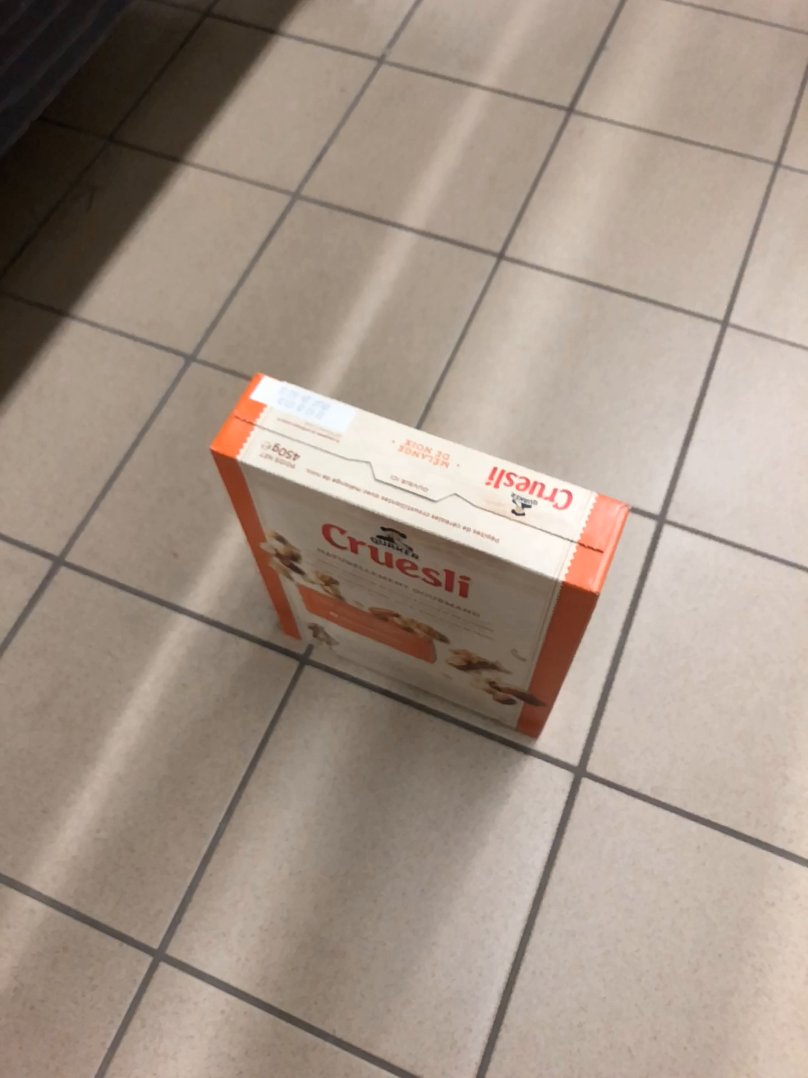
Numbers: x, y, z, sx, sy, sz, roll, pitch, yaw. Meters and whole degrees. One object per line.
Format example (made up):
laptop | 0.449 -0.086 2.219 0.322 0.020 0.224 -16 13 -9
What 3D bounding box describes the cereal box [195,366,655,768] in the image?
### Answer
cereal box | 0.011 0.033 0.514 0.200 0.249 0.060 21 65 12
